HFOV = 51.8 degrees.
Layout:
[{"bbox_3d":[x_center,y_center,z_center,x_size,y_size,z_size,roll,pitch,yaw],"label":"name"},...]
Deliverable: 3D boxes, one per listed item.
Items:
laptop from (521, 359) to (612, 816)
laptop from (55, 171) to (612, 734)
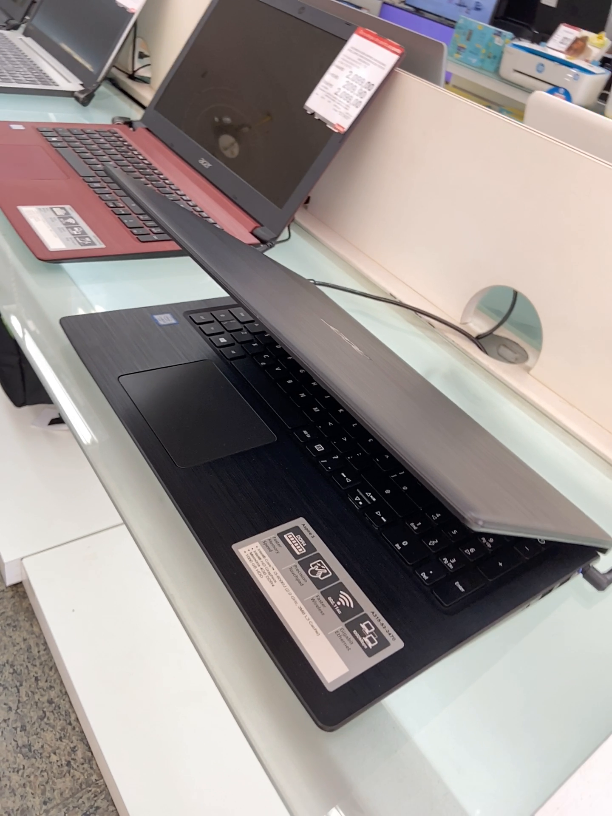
[{"bbox_3d":[0.360,0.195,0.225,0.352,0.165,0.381,-18,49,-36],"label":"laptop"},{"bbox_3d":[0.012,-0.033,0.435,0.240,0.123,0.379,-15,45,-34],"label":"laptop"}]
